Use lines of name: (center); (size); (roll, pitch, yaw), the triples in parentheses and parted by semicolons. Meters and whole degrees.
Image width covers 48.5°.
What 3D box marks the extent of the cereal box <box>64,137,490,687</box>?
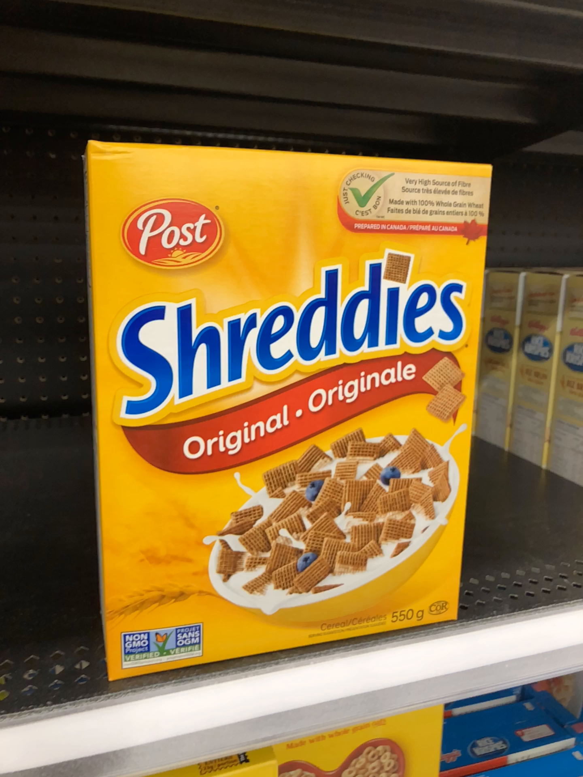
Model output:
cereal box: (-0.010, 0.009, 0.362); (0.210, 0.259, 0.070); (-3, 13, -19)
